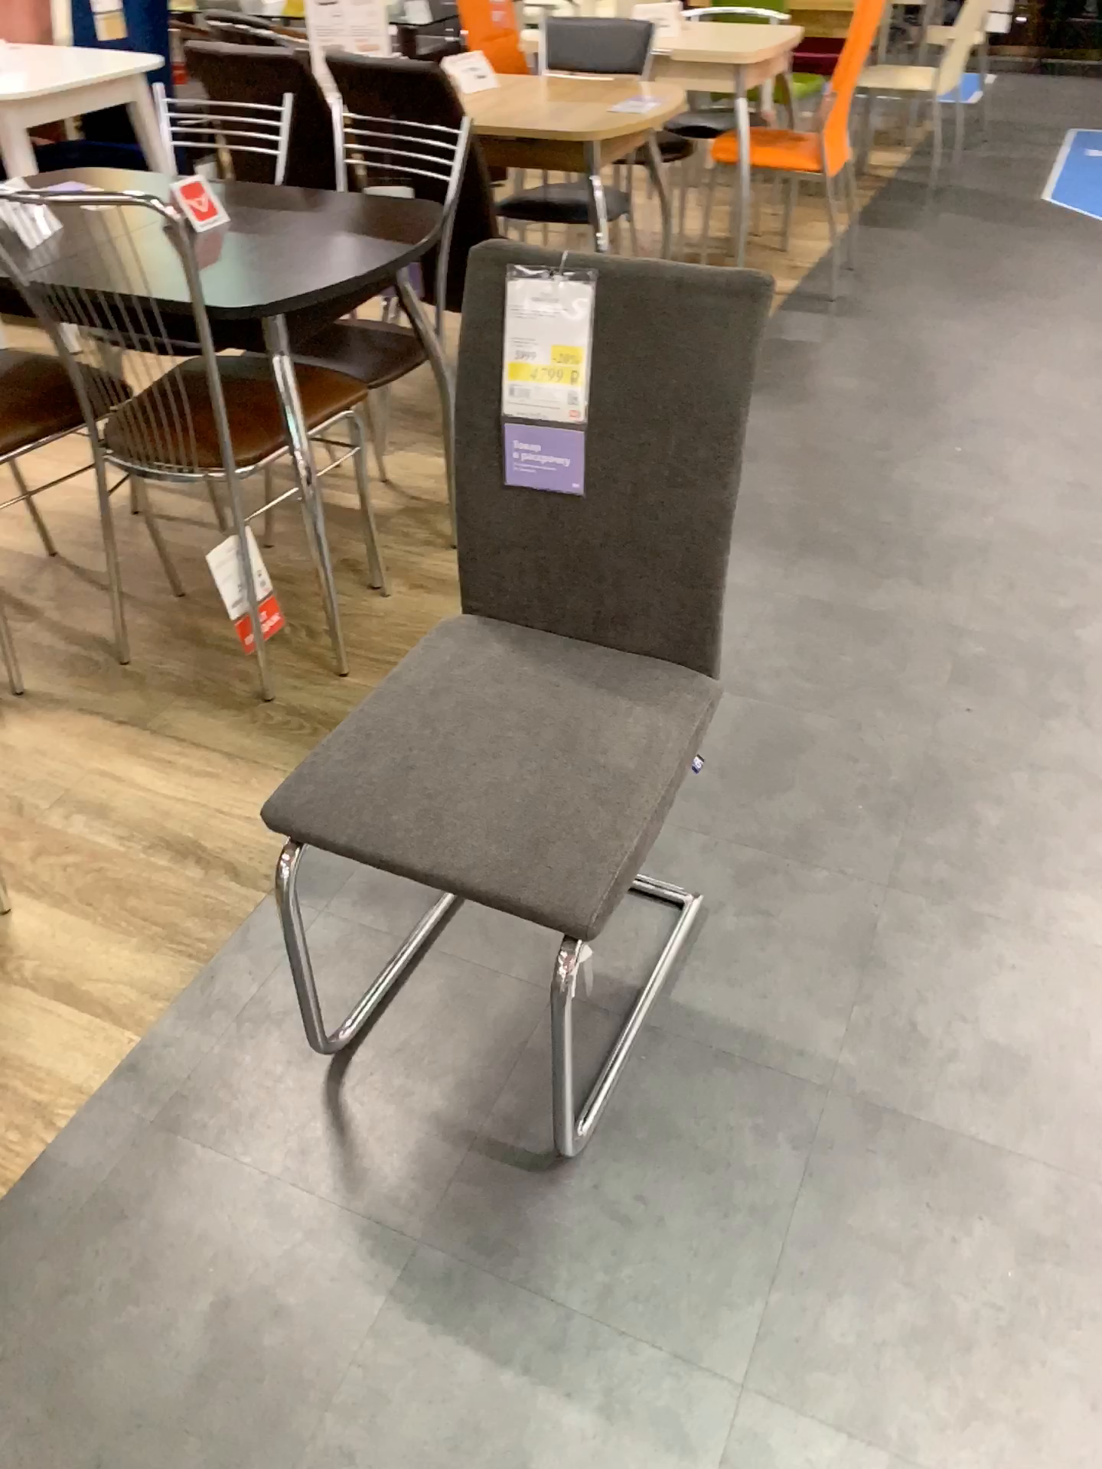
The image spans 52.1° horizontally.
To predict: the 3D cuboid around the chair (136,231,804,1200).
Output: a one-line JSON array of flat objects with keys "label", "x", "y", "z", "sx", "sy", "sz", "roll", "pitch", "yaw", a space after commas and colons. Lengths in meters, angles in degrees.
[{"label": "chair", "x": -0.037, "y": -0.009, "z": 1.378, "sx": 0.435, "sy": 0.975, "sz": 0.542, "roll": 15, "pitch": 41, "yaw": 20}]
